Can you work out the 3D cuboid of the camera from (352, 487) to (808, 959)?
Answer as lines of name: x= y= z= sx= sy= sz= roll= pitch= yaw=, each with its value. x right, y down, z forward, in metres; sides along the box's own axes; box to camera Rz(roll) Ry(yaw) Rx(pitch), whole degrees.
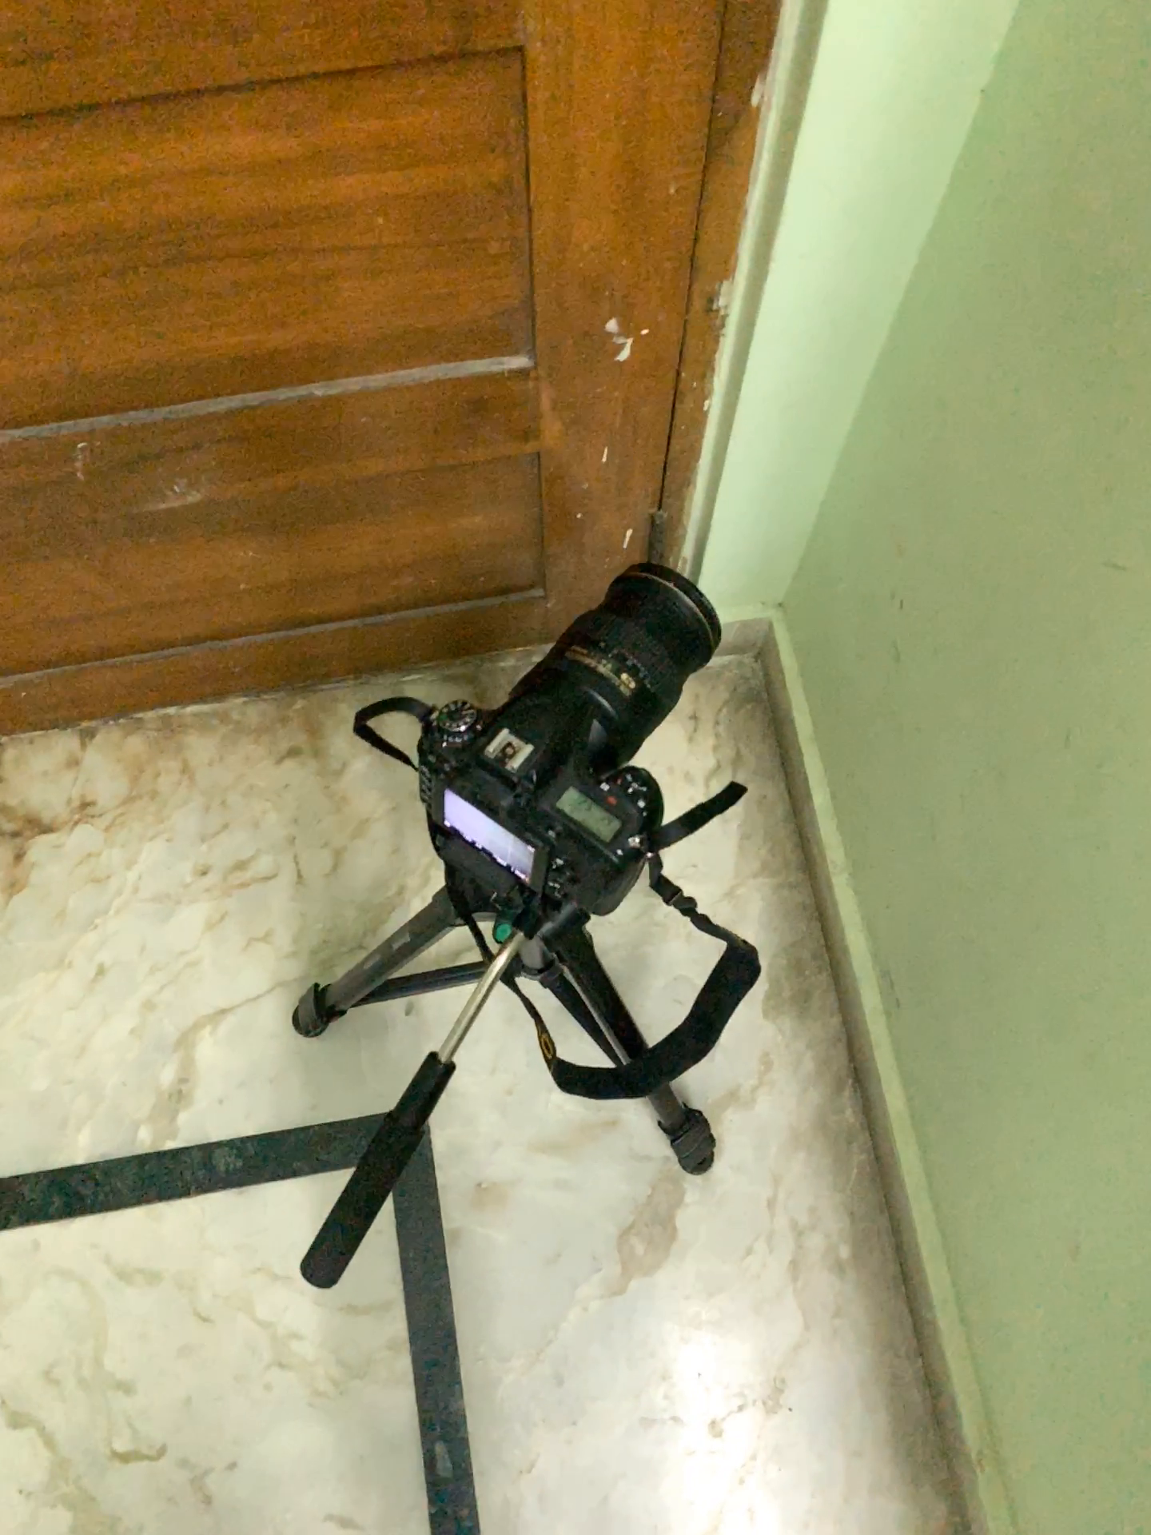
camera: x=0.004 y=-0.023 z=0.701 sx=0.175 sy=0.128 sz=0.189 roll=32 pitch=74 yaw=10
